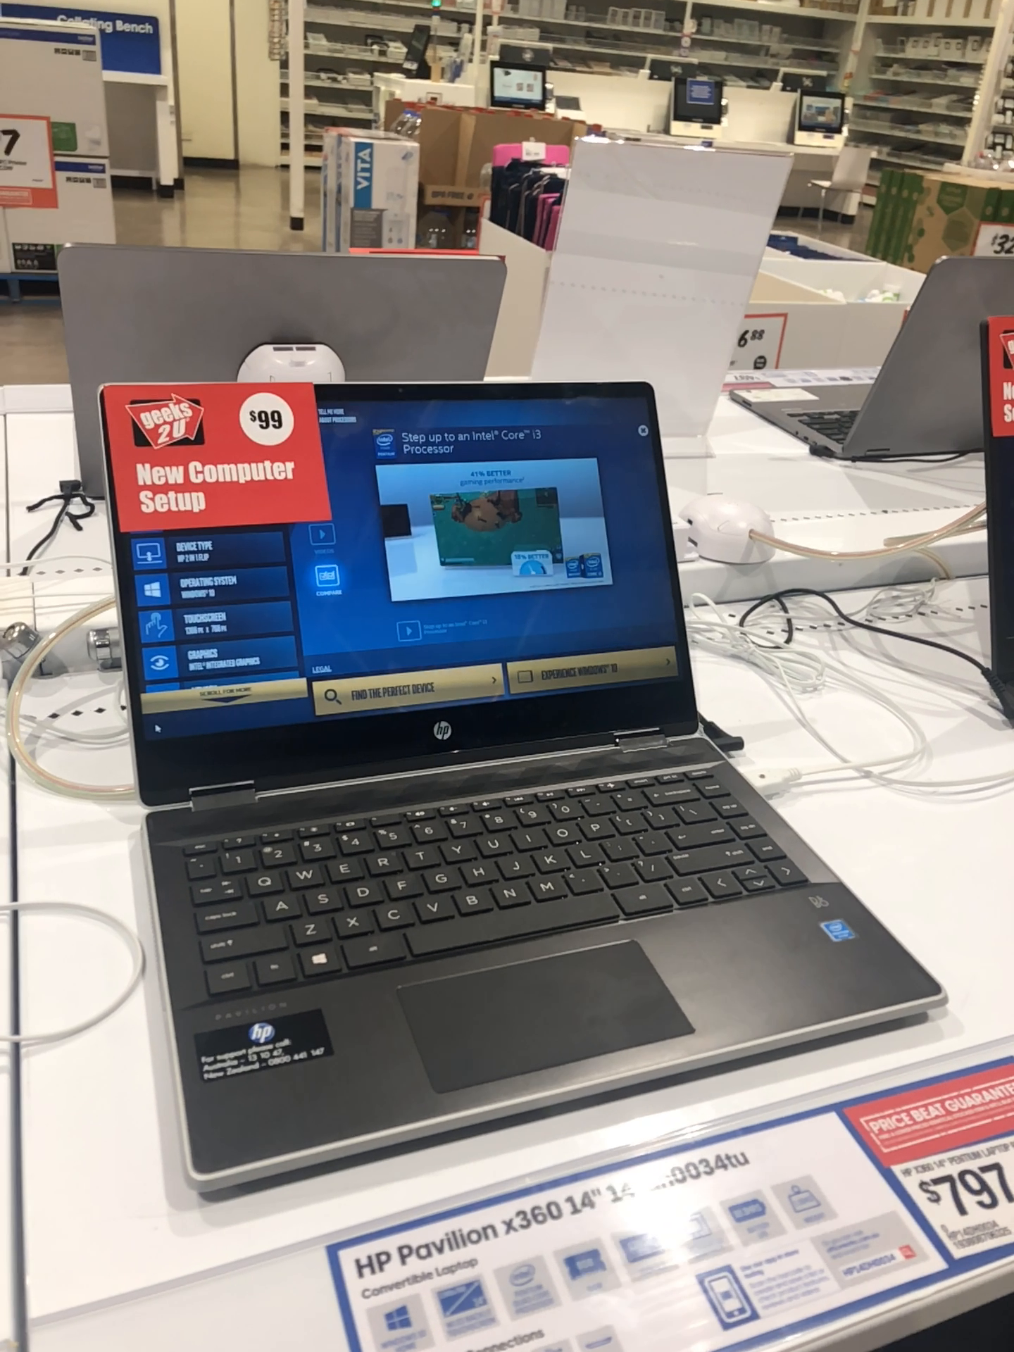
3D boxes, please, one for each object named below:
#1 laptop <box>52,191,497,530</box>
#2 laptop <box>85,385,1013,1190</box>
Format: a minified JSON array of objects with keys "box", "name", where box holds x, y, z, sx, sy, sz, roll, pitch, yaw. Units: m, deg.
[{"box":[-0.222,-0.291,0.982,0.306,0.199,0.358,-6,30,-20],"name":"laptop"},{"box":[-0.010,-0.003,0.519,0.316,0.169,0.340,-6,31,-21],"name":"laptop"}]
